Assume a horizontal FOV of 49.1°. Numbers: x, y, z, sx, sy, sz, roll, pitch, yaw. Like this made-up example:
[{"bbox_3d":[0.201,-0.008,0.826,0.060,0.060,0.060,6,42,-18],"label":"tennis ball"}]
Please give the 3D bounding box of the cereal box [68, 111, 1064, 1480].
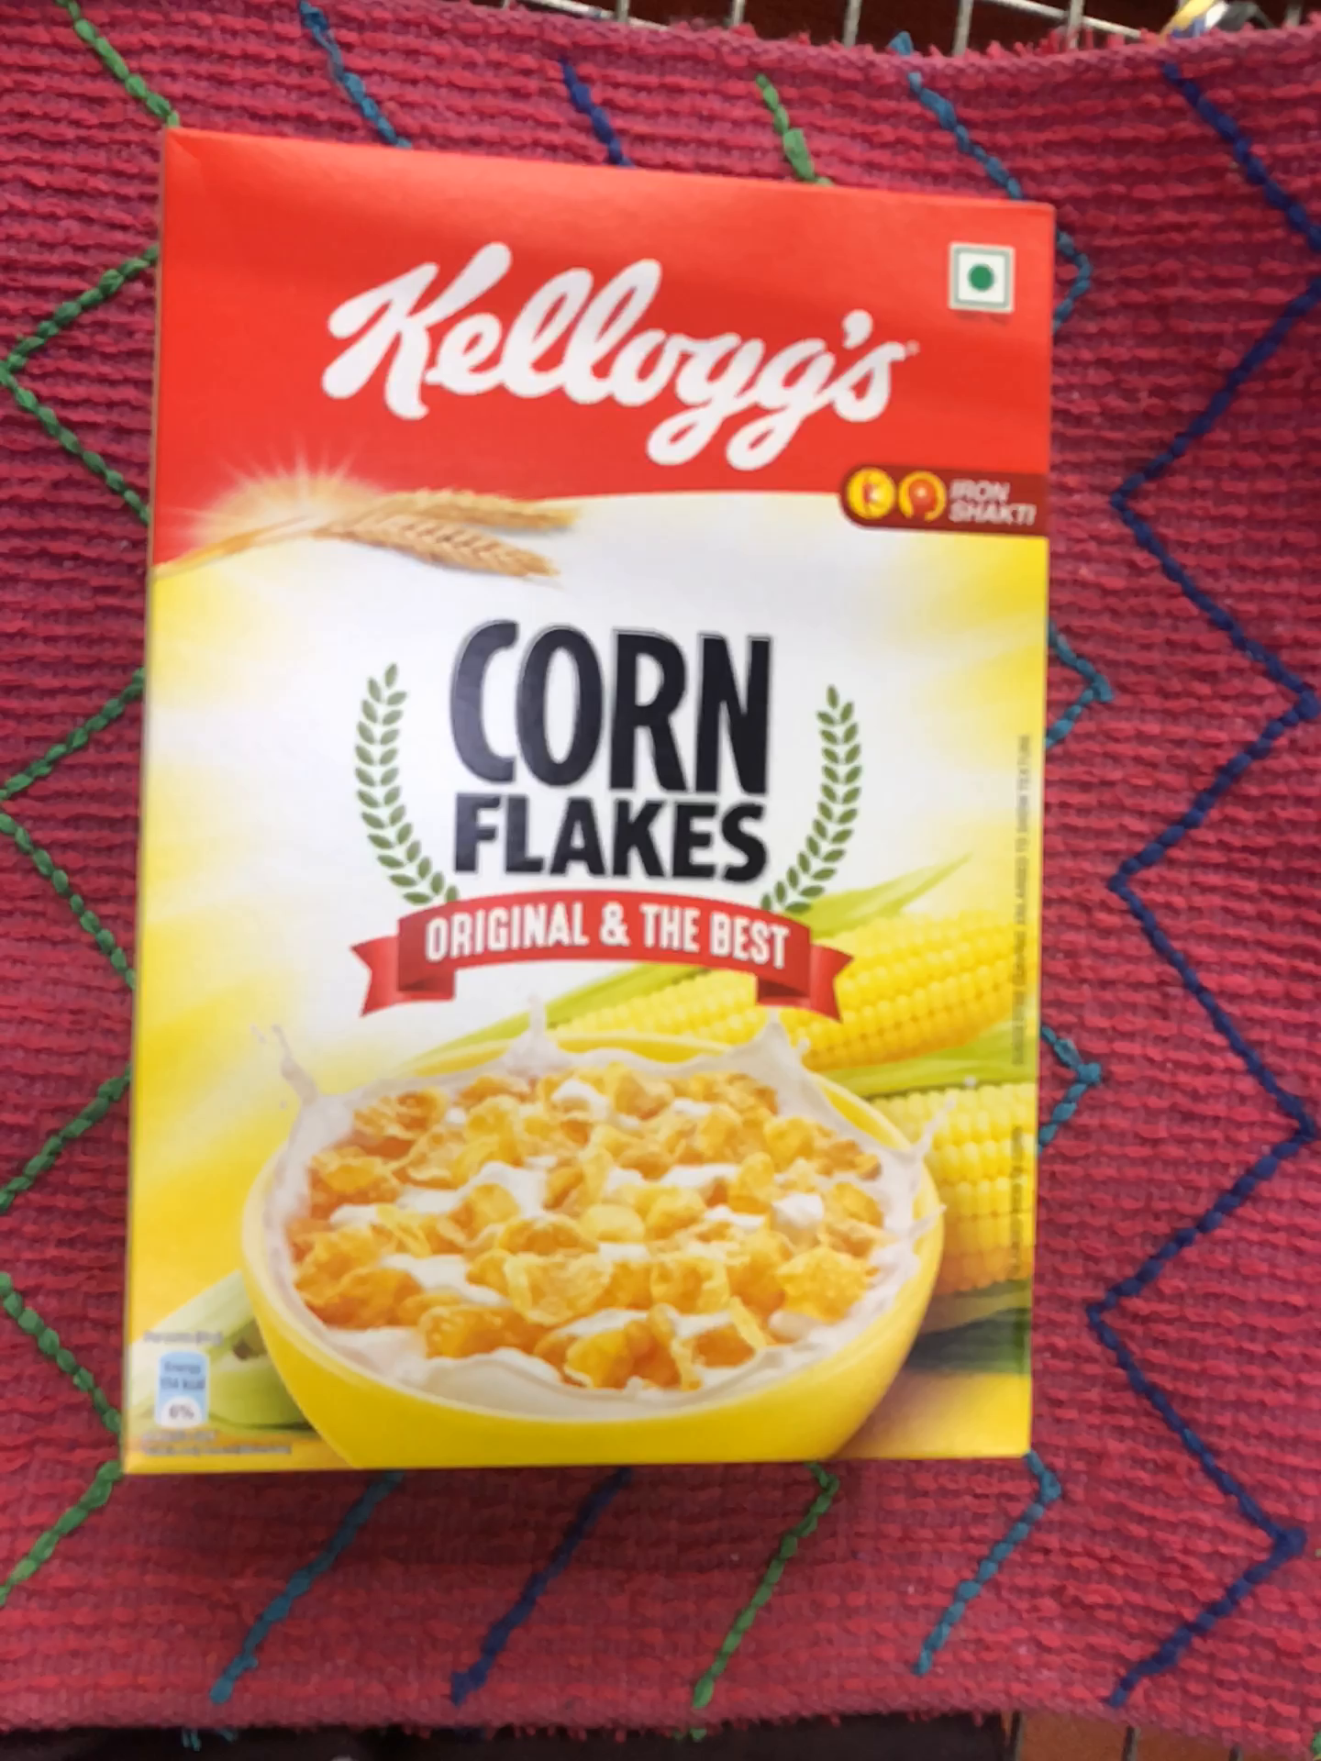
[{"bbox_3d":[-0.019,-0.014,0.320,0.190,0.070,0.260,1,90,-6],"label":"cereal box"}]
